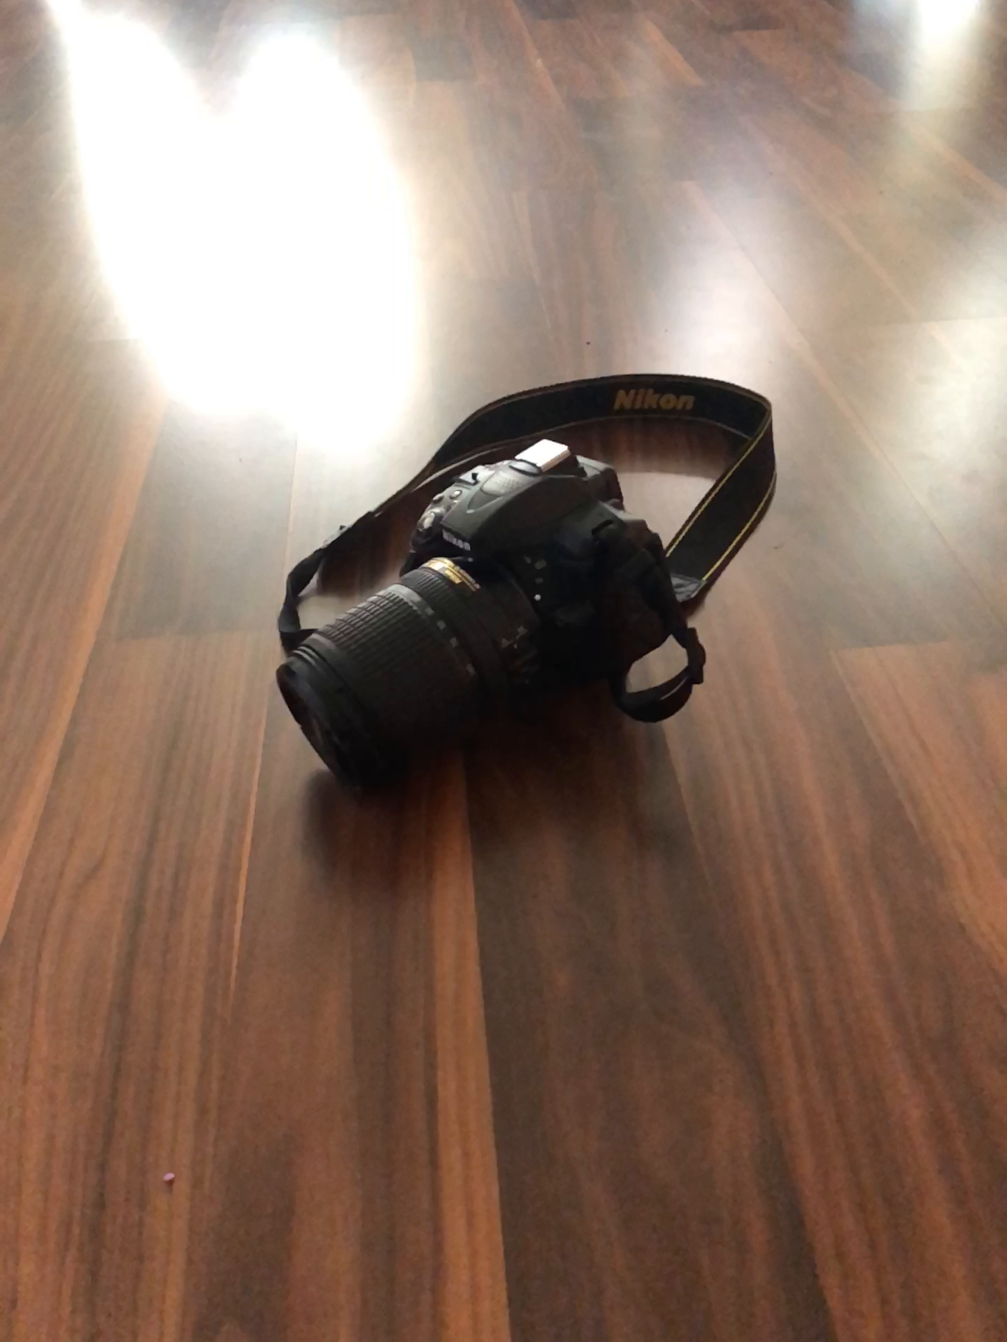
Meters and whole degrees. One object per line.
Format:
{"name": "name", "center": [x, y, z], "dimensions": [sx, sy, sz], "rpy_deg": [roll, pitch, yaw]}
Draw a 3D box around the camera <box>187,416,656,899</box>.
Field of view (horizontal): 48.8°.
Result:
{"name": "camera", "center": [-0.030, -0.013, 0.537], "dimensions": [0.180, 0.129, 0.110], "rpy_deg": [-32, 48, -25]}
